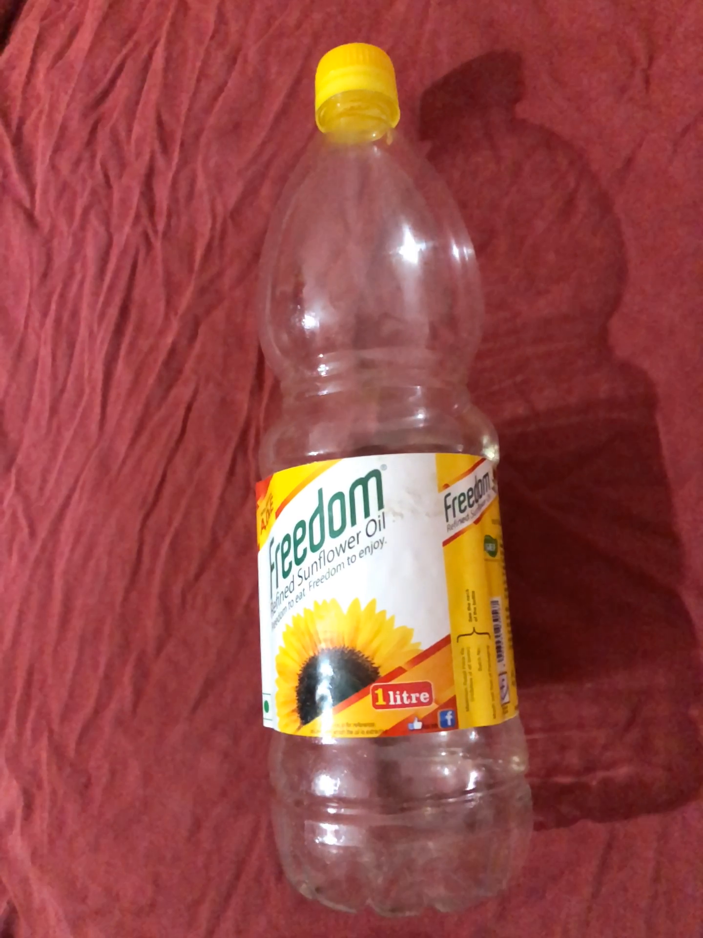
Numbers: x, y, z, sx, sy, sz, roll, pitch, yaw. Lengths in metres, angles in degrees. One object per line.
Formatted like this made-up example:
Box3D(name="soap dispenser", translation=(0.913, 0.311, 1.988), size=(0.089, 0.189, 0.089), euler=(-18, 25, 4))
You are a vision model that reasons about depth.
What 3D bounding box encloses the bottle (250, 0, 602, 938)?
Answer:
Box3D(name="bottle", translation=(0.023, -0.004, 0.245), size=(0.080, 0.060, 0.270), euler=(-6, 82, 17))
